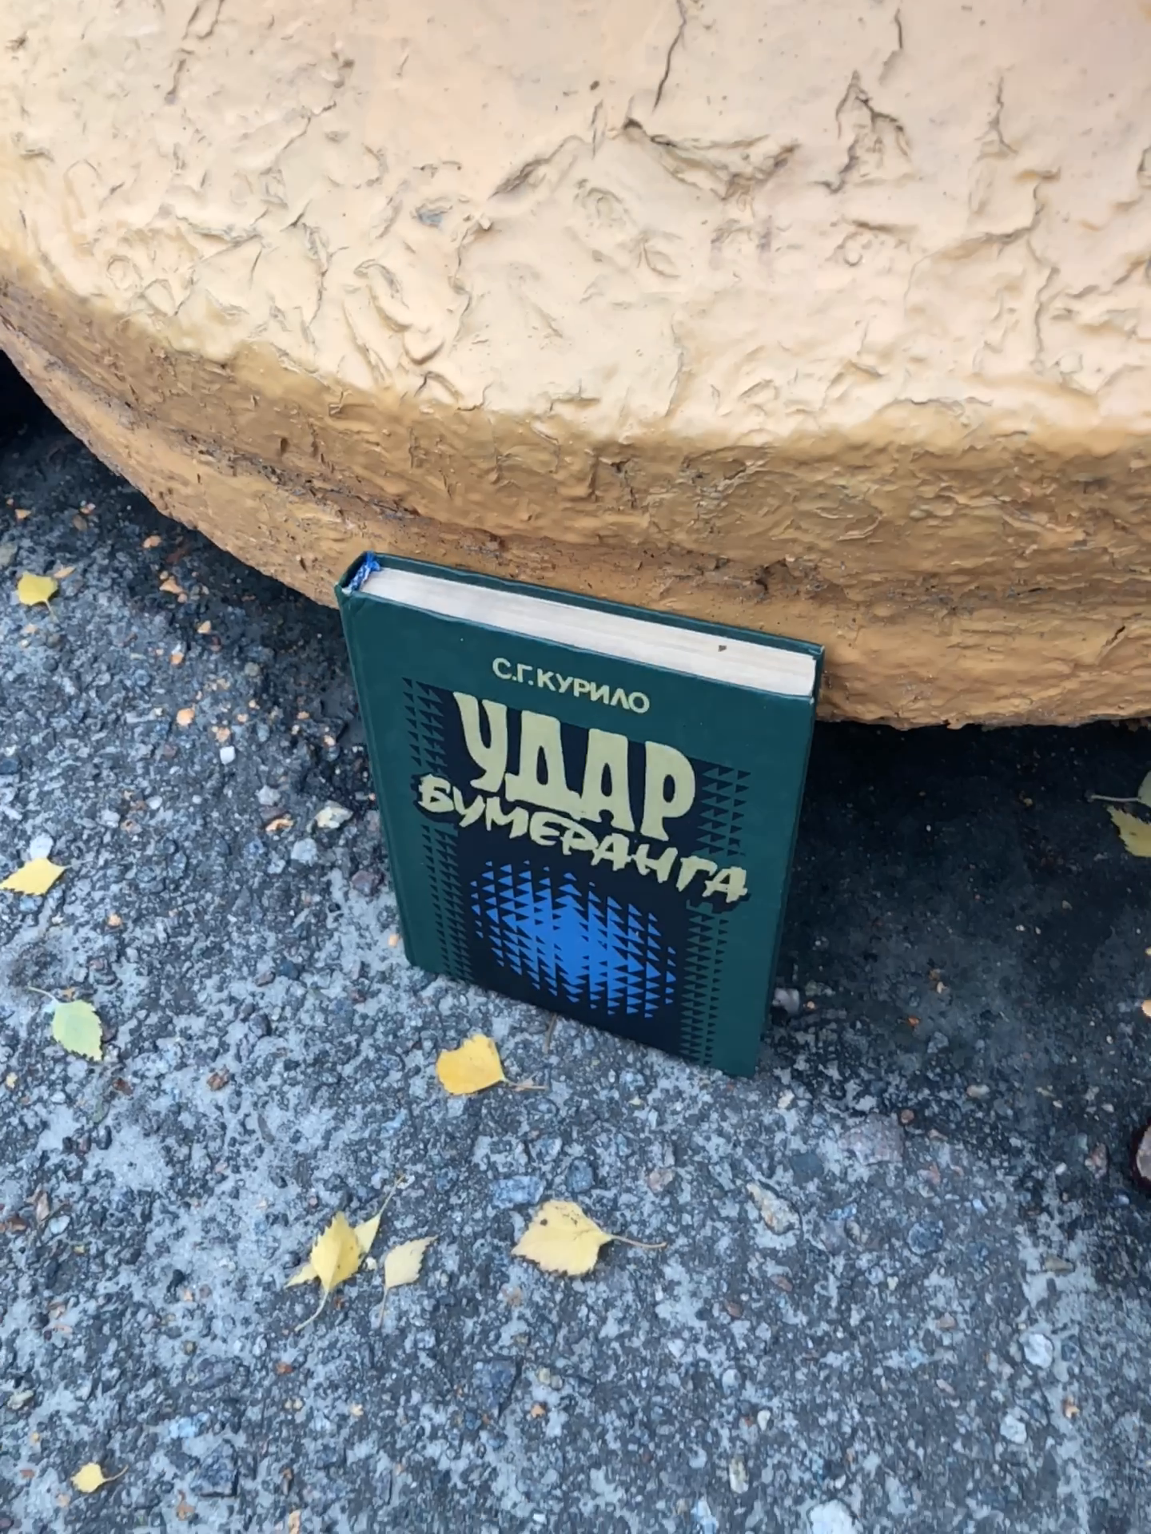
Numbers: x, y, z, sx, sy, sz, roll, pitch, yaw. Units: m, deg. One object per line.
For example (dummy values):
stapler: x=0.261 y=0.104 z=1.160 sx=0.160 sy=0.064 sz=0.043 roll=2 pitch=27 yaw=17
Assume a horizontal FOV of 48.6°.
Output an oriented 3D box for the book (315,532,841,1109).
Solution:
book: x=0.006 y=0.024 z=0.379 sx=0.131 sy=0.178 sz=0.029 roll=18 pitch=53 yaw=22
